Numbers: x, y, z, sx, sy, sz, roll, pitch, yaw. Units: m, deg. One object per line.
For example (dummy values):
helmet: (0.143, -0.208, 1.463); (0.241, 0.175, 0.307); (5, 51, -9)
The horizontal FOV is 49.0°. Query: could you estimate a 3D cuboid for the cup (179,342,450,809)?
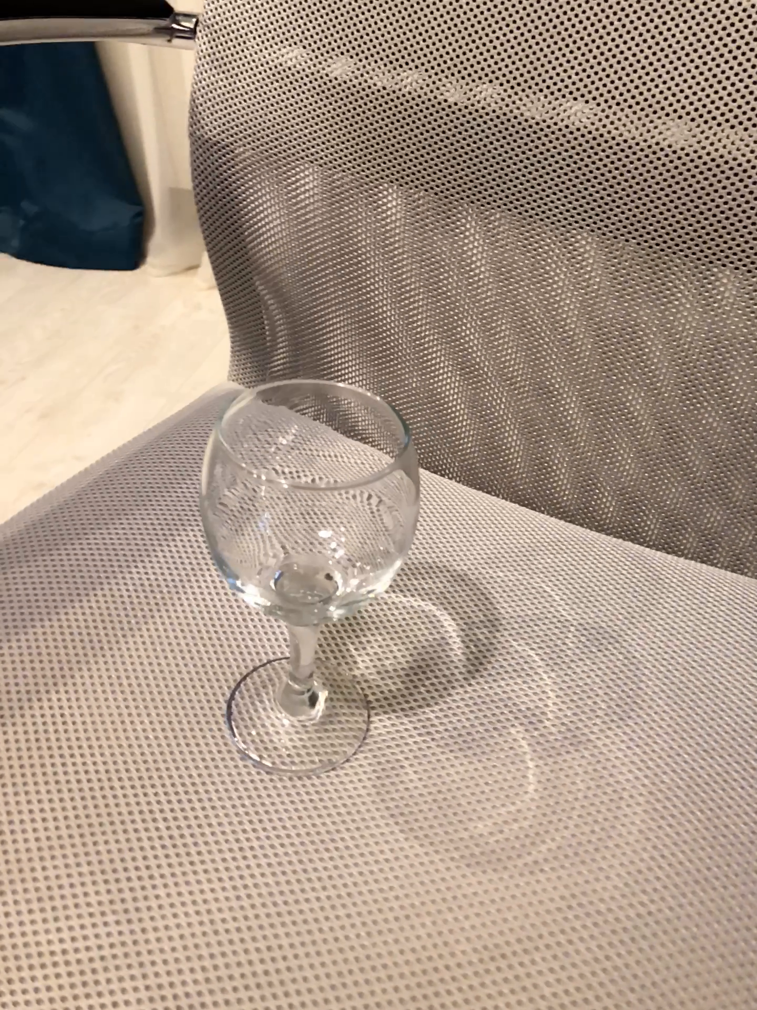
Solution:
cup: (-0.024, 0.035, 0.336); (0.080, 0.172, 0.089); (-4, 42, -5)
